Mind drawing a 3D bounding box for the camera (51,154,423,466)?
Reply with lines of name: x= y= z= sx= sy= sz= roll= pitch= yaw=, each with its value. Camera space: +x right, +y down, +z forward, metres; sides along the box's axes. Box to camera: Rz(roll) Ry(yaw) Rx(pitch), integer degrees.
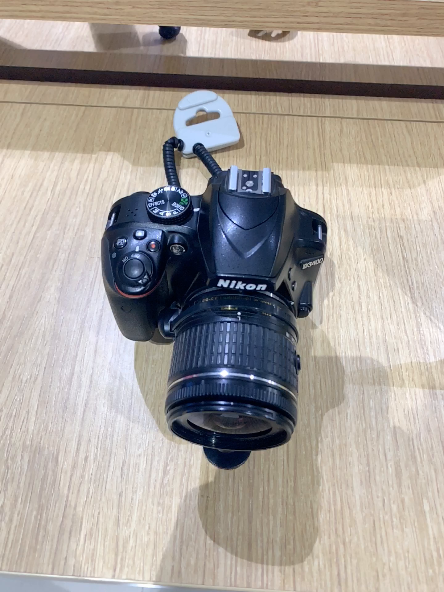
camera: x=0.006 y=0.007 z=0.192 sx=0.110 sy=0.073 sz=0.100 roll=4 pitch=57 yaw=-1
